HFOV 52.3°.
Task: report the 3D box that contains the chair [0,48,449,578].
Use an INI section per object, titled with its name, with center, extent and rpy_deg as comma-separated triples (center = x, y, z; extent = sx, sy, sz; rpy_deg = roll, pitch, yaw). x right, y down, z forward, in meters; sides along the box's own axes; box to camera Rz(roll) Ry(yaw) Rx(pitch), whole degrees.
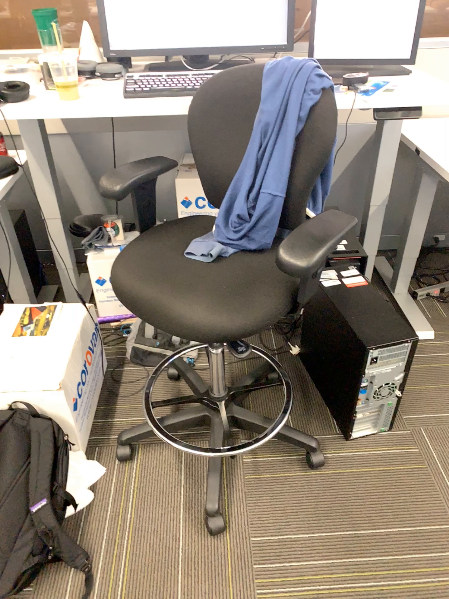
[chair]
center = 0.016, -0.039, 1.324
extent = 0.743, 1.063, 0.842
rpy_deg = 28, 46, 34
